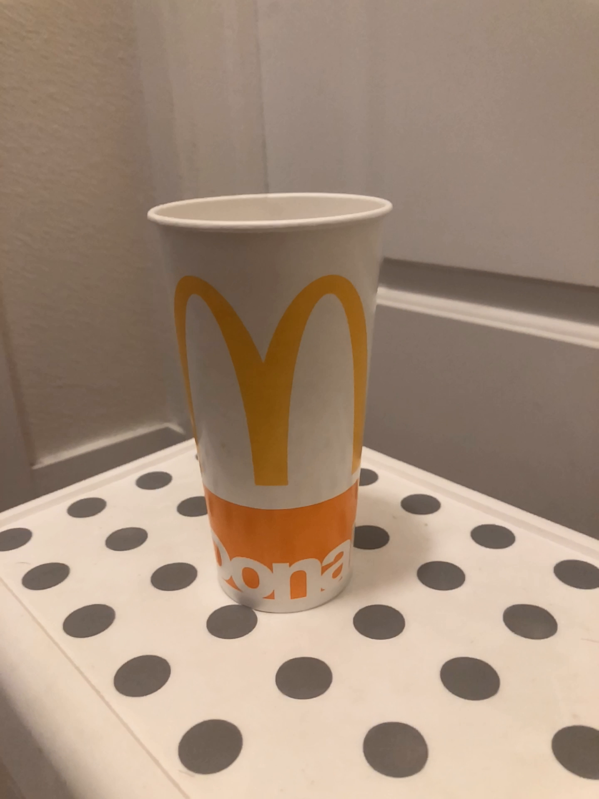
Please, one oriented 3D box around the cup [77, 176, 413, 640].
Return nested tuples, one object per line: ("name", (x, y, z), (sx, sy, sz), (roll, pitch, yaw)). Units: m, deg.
("cup", (-0.007, -0.003, 0.271), (0.100, 0.155, 0.099), (-3, 22, 1))
